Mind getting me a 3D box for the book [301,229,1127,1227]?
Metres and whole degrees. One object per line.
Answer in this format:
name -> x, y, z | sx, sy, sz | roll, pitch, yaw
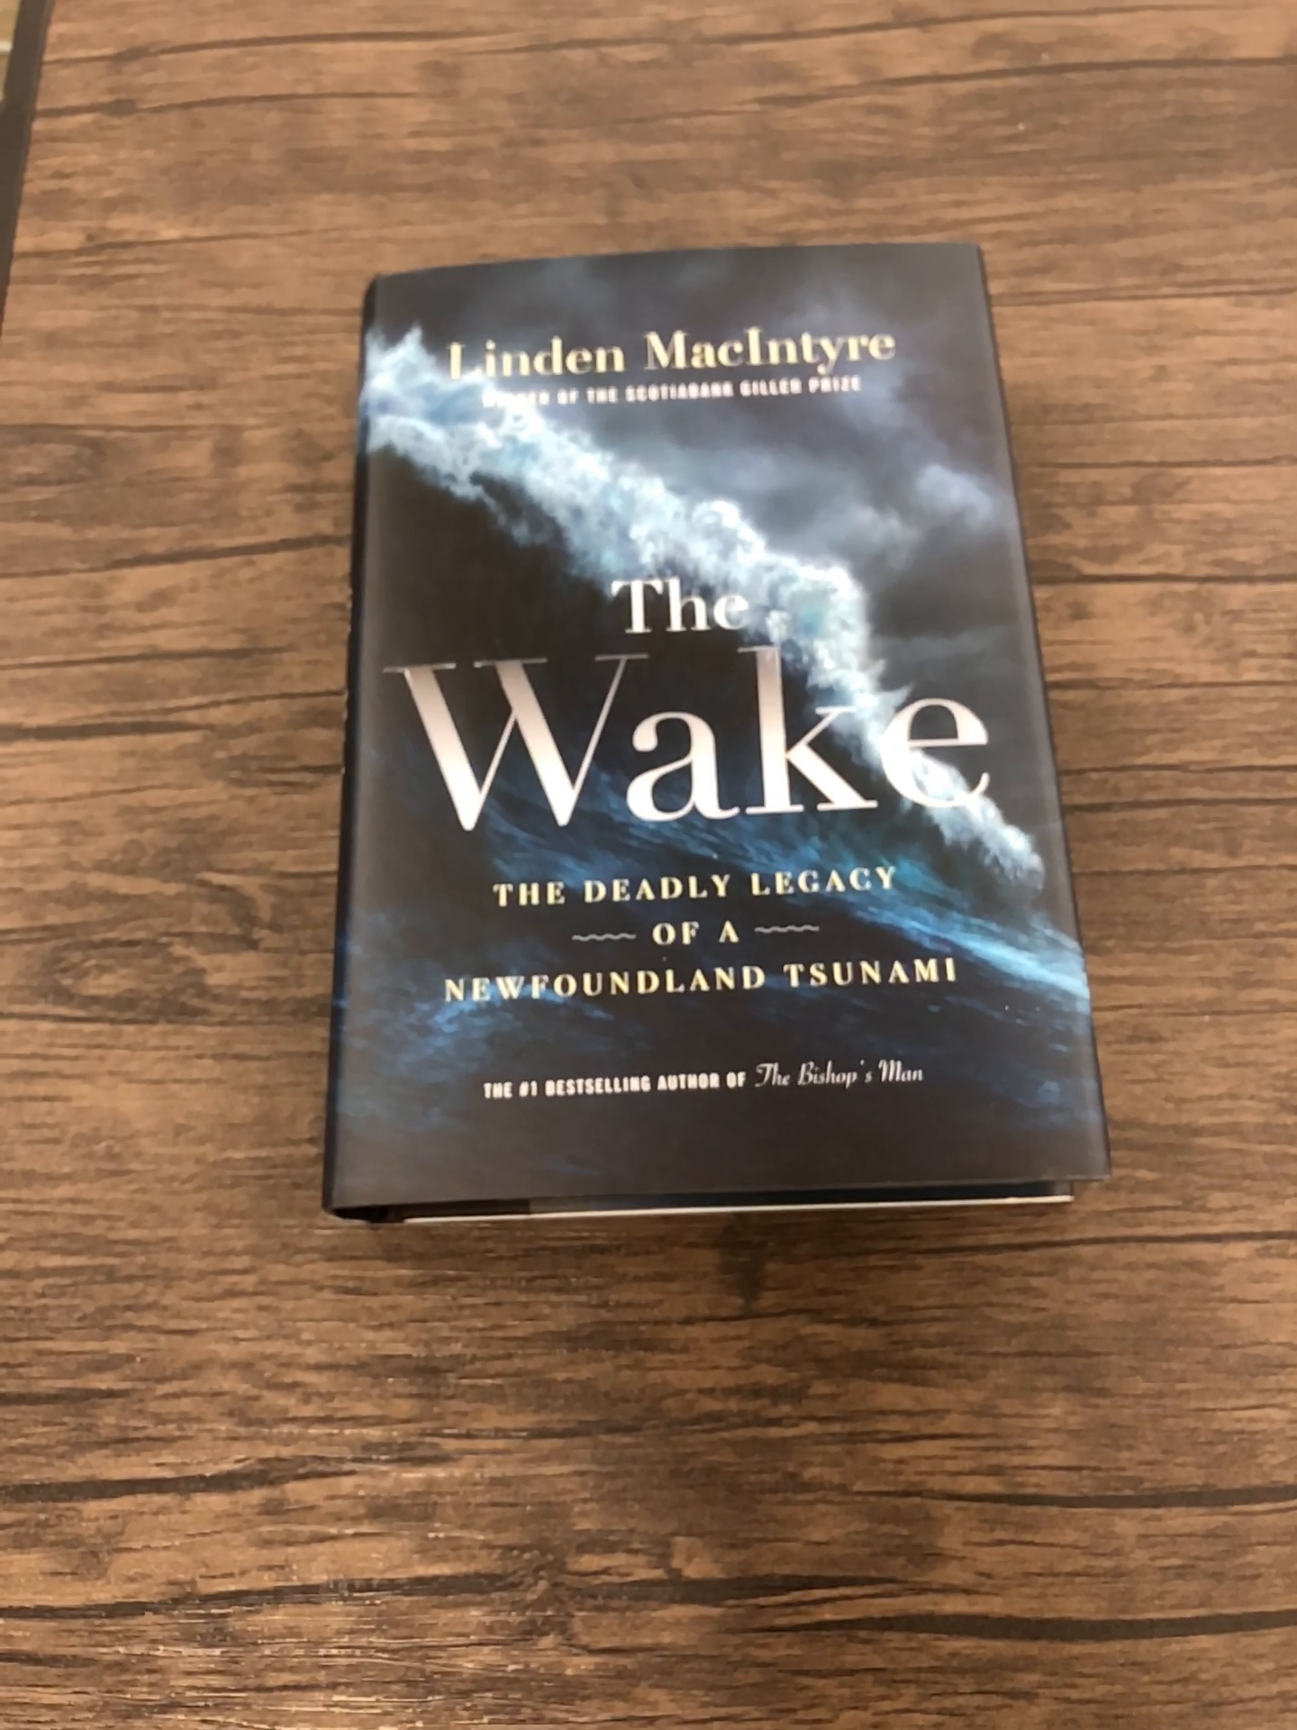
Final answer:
book -> 0.010, -0.037, 0.344 | 0.160, 0.050, 0.230 | -2, 70, 1
